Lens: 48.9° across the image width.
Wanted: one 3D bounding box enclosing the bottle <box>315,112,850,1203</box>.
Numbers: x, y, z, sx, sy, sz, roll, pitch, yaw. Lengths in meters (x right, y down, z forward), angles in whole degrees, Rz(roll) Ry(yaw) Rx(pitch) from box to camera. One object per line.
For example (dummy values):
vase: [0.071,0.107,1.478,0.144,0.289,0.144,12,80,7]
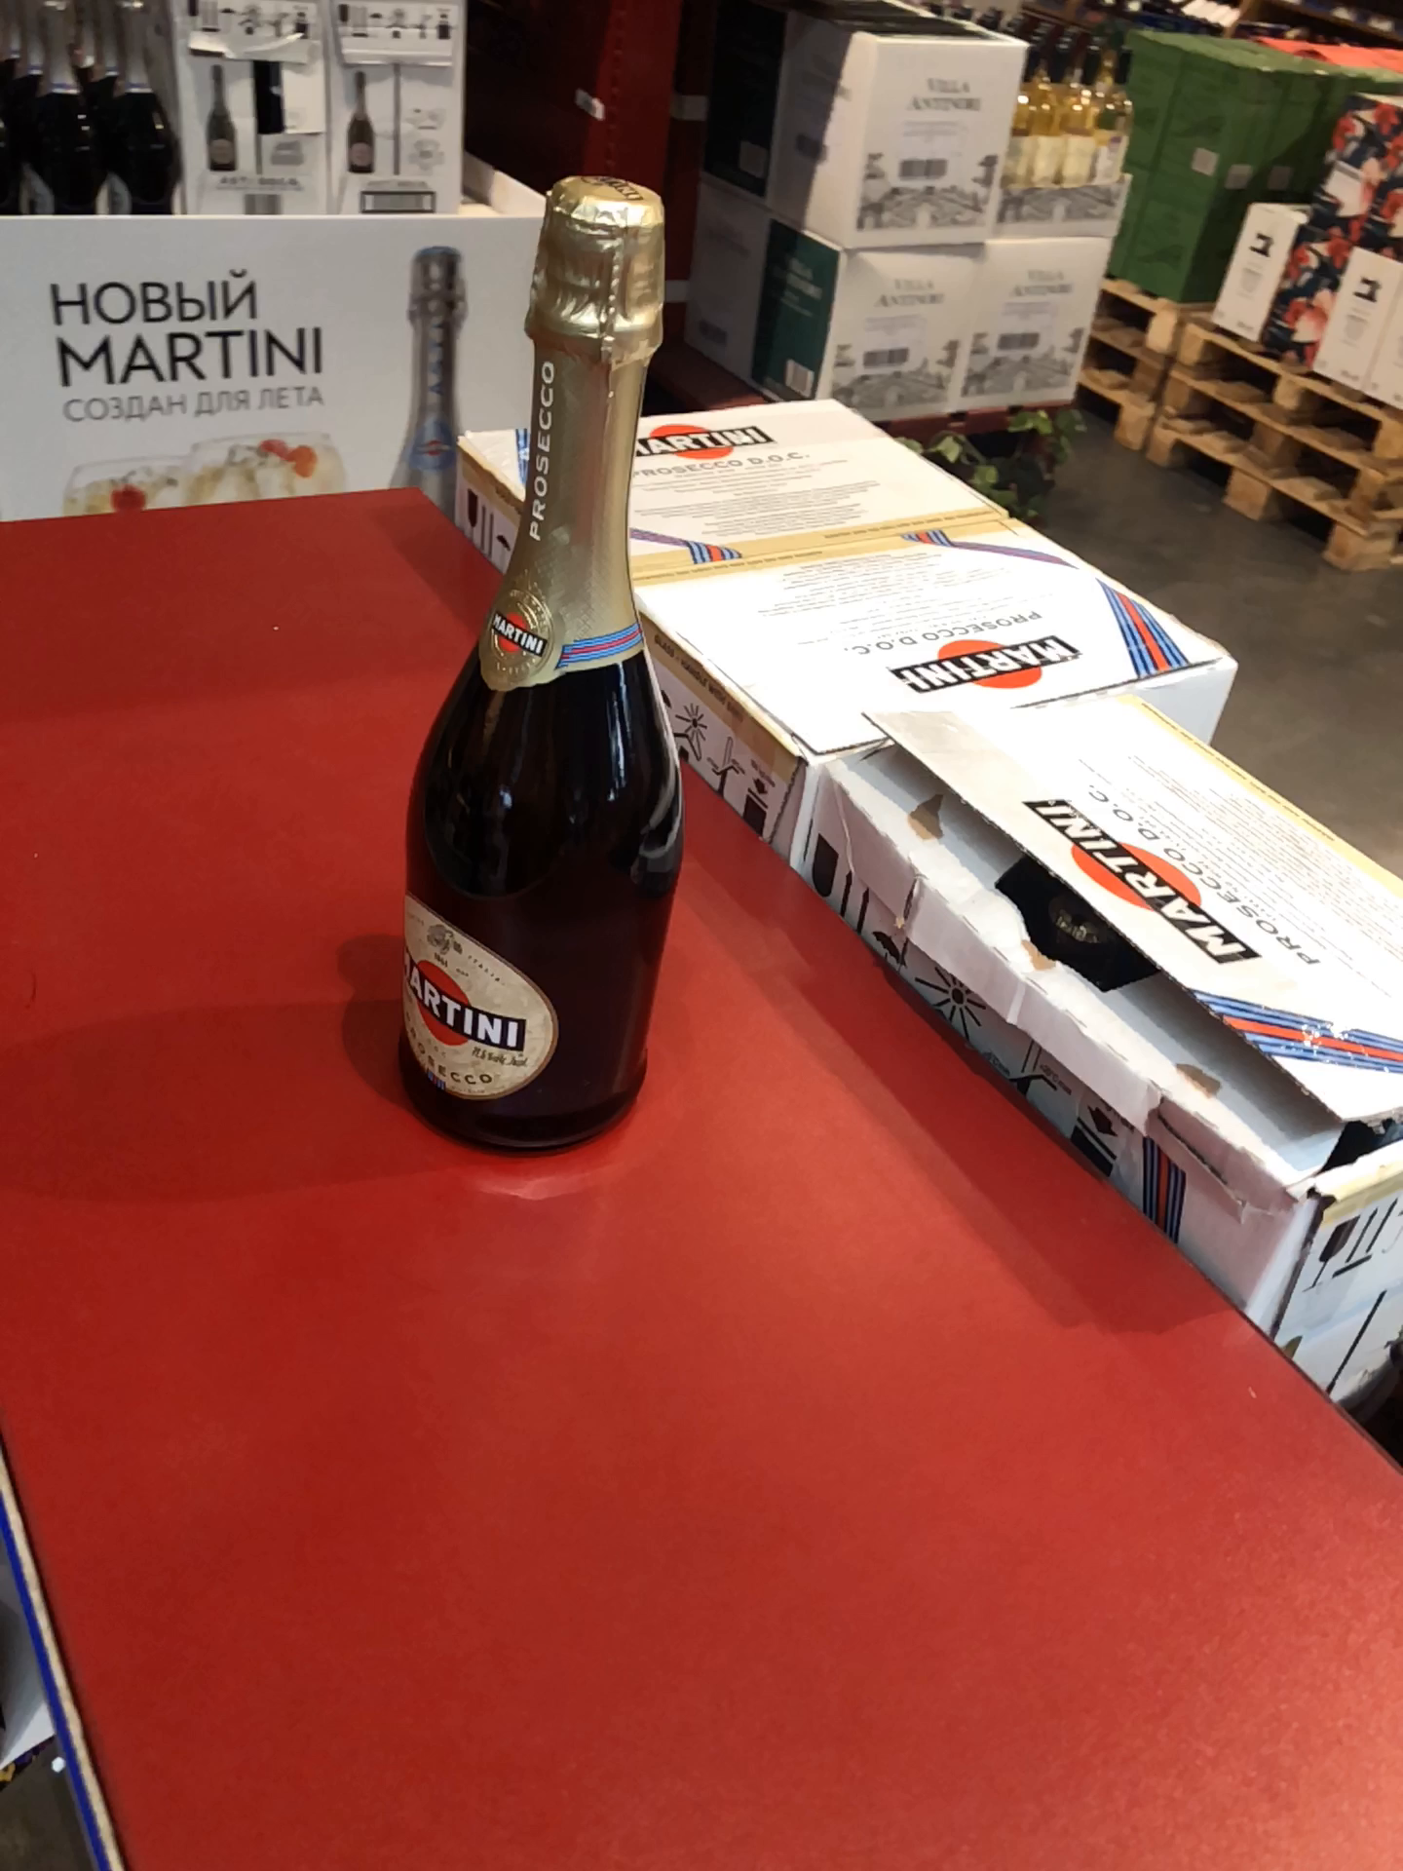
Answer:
bottle: [-0.048,-0.072,0.473,0.090,0.302,0.100,-27,50,-38]
